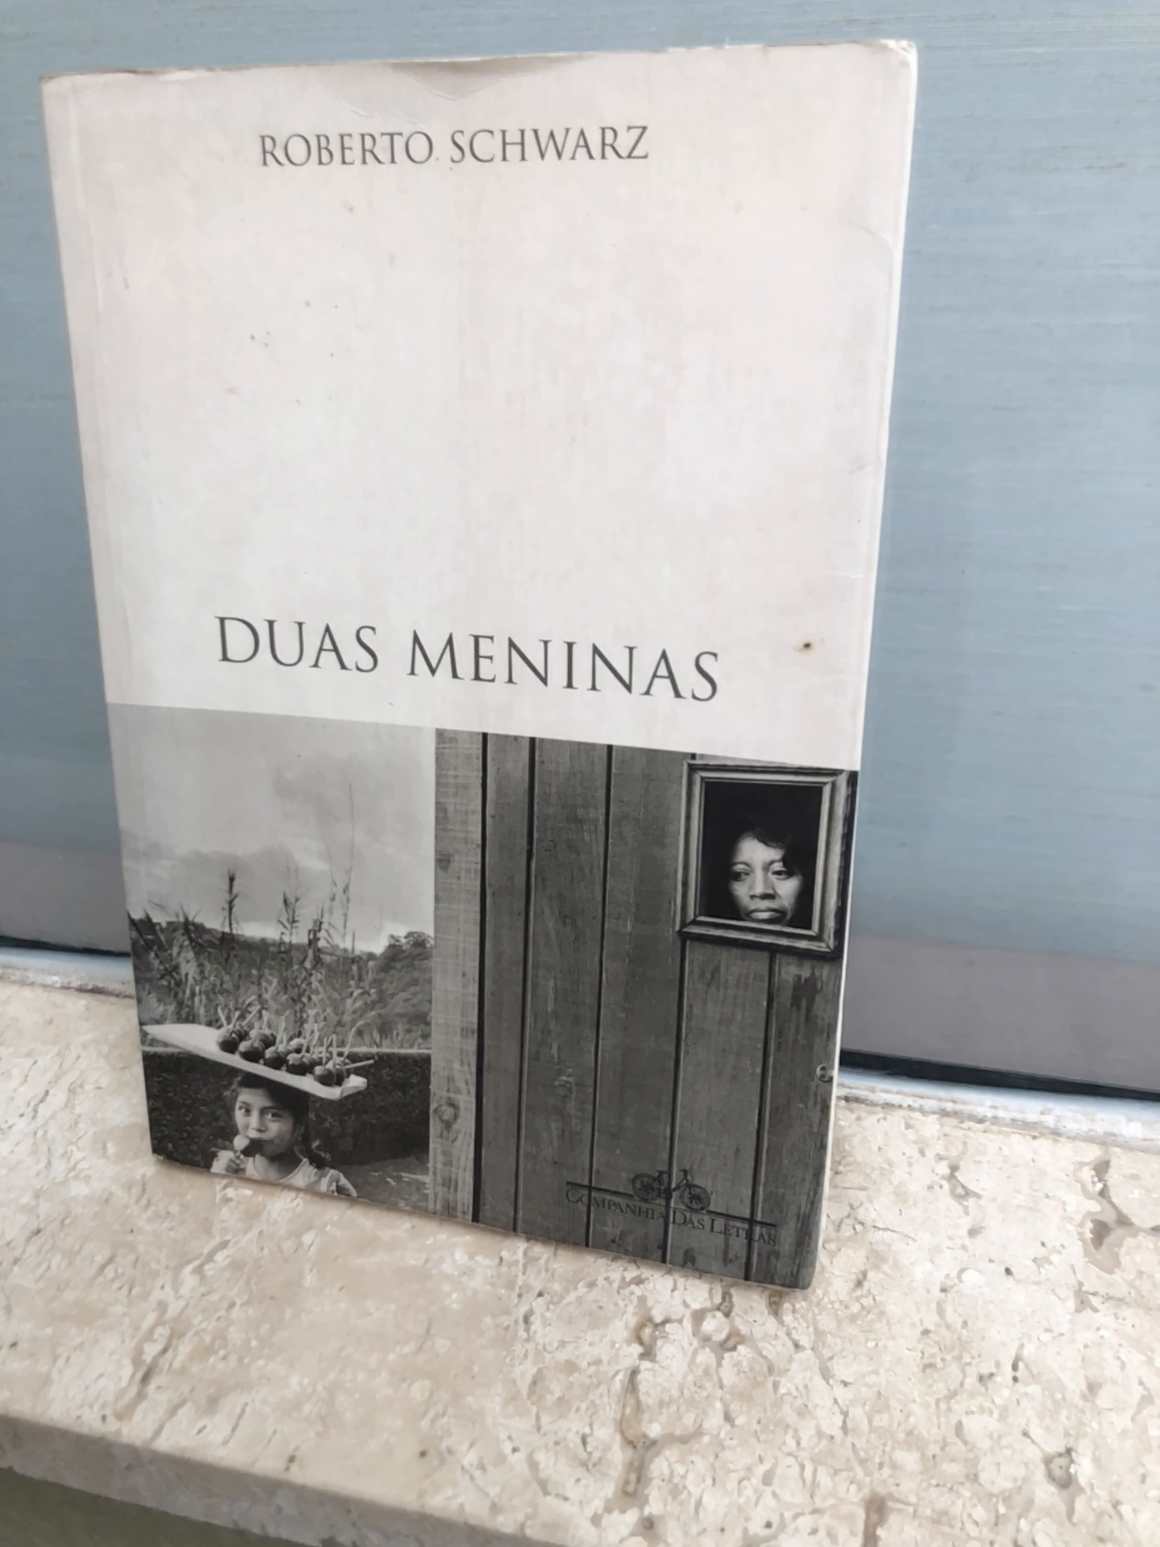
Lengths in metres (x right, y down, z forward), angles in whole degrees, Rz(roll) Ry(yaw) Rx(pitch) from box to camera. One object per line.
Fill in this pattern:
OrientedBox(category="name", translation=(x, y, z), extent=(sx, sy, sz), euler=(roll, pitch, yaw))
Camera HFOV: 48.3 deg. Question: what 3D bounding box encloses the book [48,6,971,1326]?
OrientedBox(category="book", translation=(-0.015, -0.009, 0.222), extent=(0.139, 0.204, 0.016), euler=(6, 19, 16))
